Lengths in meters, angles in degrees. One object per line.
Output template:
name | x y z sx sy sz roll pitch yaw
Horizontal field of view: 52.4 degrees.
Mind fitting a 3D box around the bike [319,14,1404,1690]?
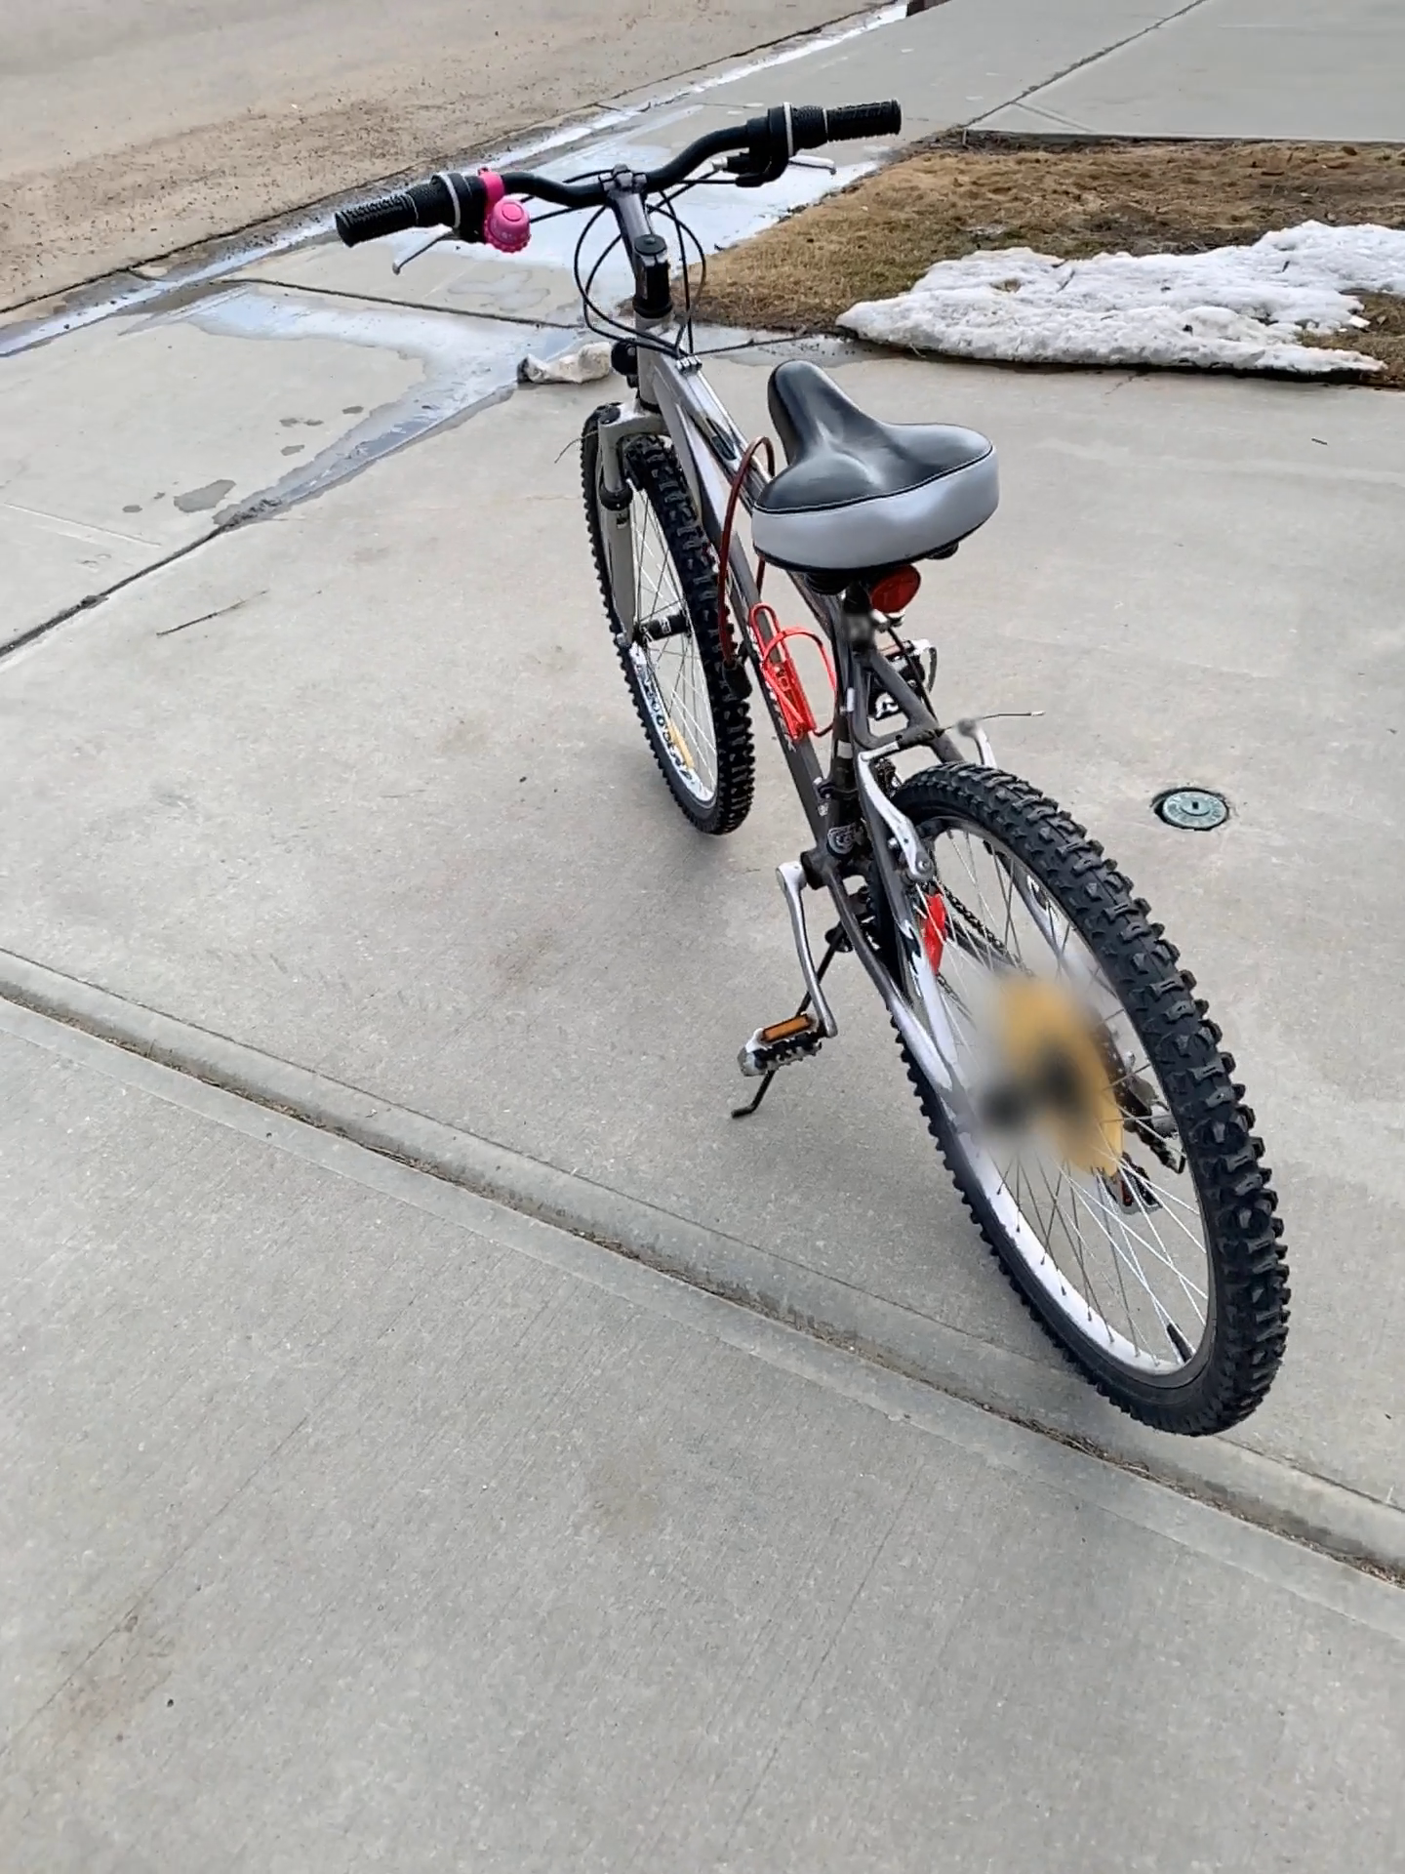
bike | 0.081 -0.277 1.433 0.539 0.824 1.508 -14 44 -15
